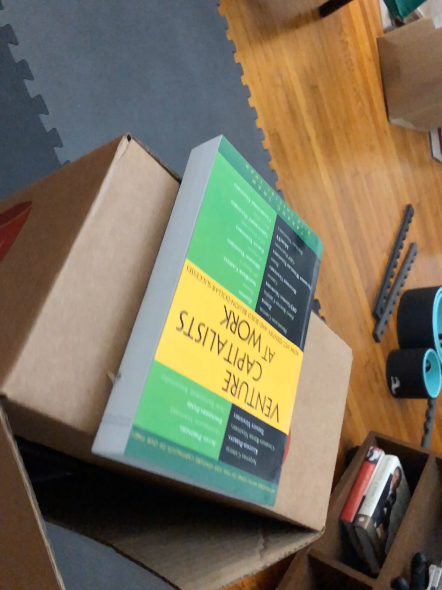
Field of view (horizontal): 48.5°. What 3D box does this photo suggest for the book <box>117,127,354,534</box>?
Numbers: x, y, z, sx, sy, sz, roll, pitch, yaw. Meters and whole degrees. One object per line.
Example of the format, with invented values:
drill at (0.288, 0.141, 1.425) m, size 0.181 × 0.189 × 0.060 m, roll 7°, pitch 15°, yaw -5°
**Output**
book at (0.034, 0.027, 0.379) m, size 0.160 × 0.040 × 0.261 m, roll 37°, pitch 56°, yaw -39°
